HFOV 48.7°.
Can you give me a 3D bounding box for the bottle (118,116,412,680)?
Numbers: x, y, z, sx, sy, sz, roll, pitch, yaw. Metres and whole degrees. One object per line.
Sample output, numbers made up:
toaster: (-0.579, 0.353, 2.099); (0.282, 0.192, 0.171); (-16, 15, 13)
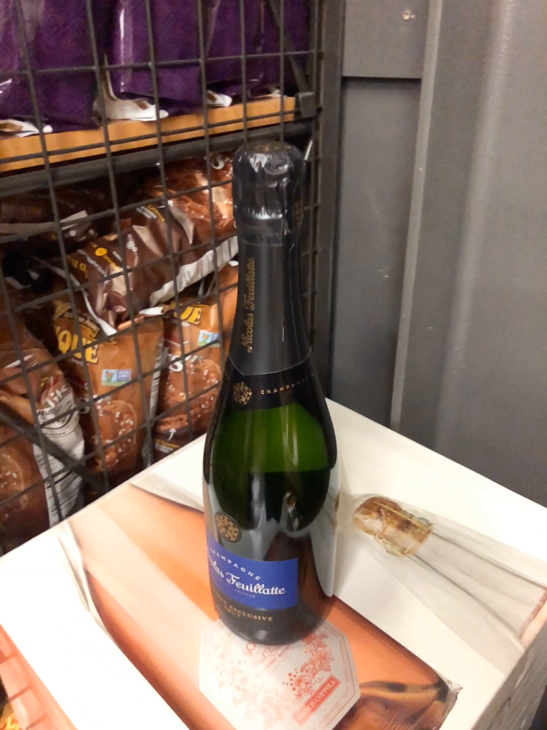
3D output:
bottle: (-0.002, 0.026, 0.347); (0.100, 0.299, 0.090); (19, 34, 30)
